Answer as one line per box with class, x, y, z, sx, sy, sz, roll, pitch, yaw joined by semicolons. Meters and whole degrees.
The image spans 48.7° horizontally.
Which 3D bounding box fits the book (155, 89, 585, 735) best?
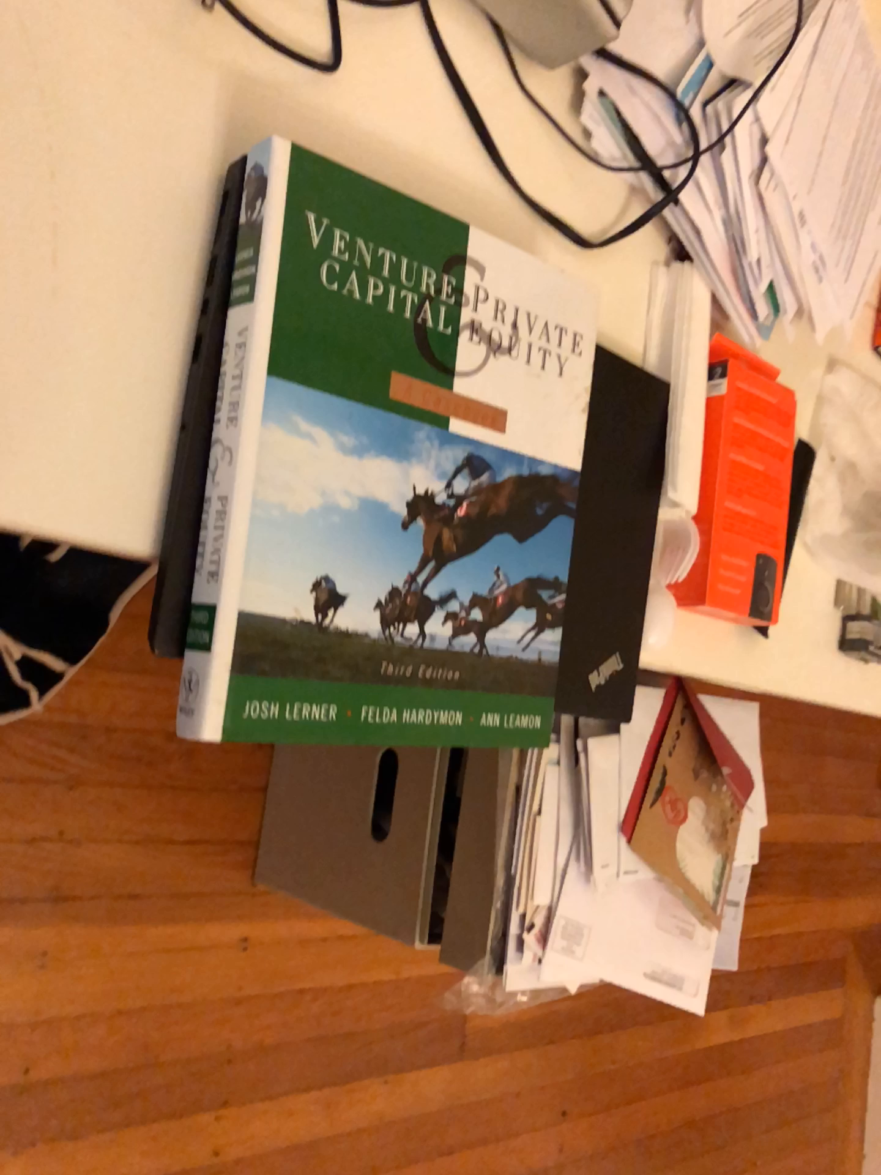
book;-0.019;-0.065;0.486;0.221;0.030;0.270;9;84;-42
